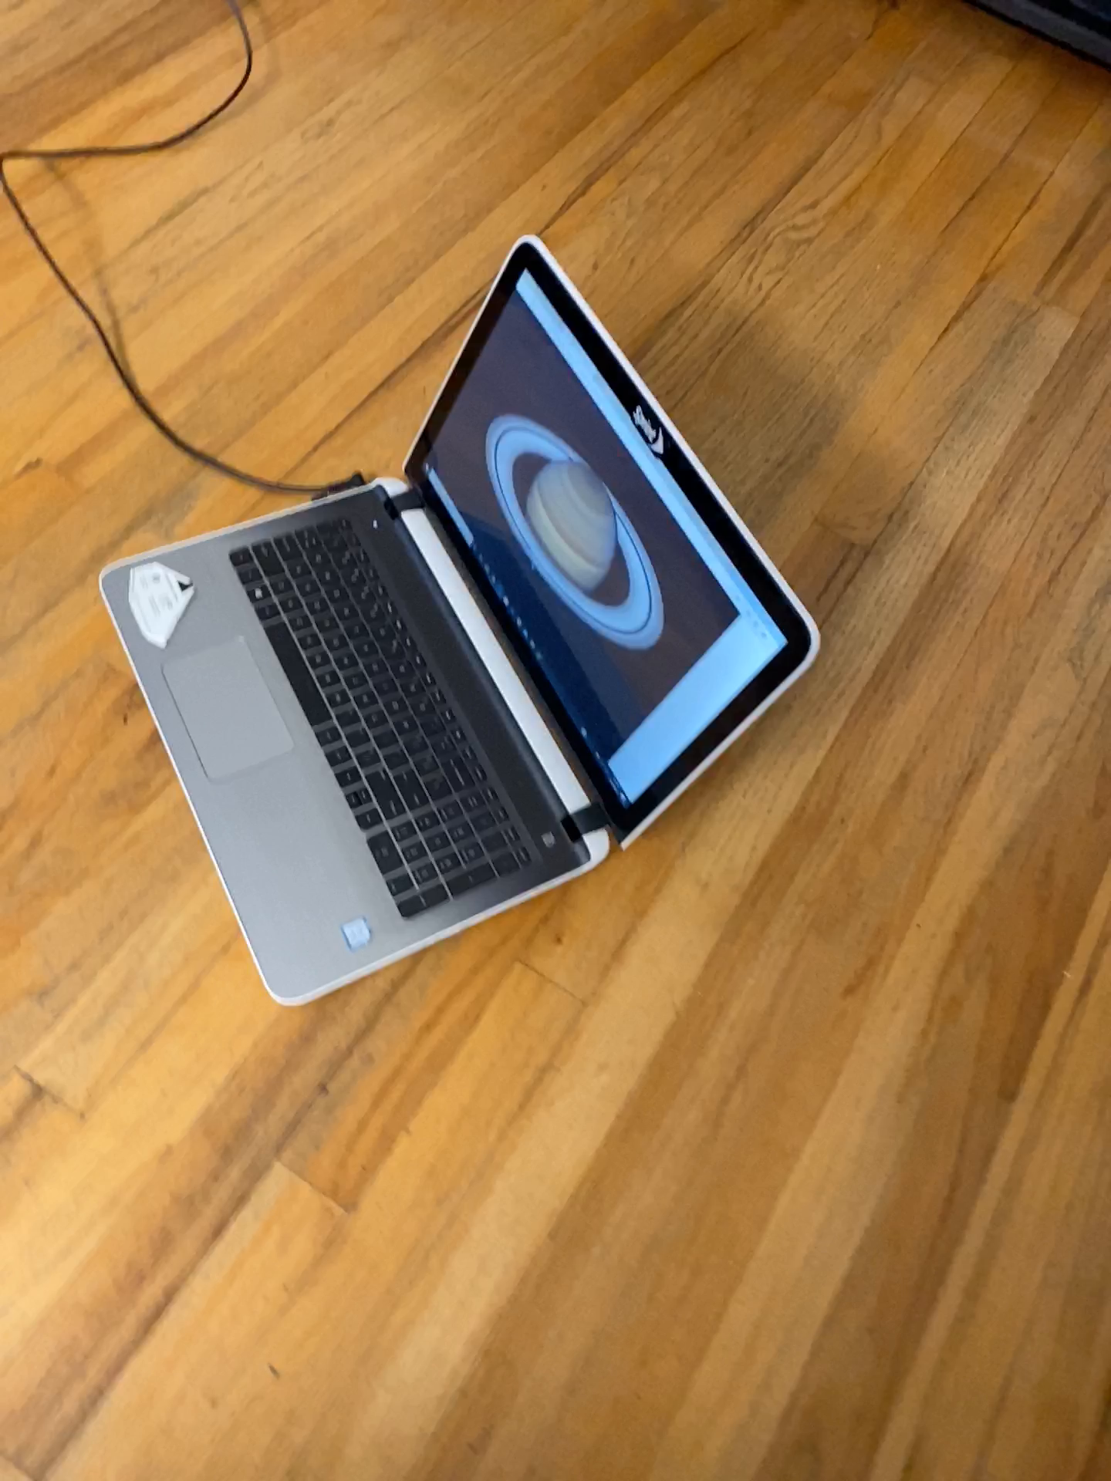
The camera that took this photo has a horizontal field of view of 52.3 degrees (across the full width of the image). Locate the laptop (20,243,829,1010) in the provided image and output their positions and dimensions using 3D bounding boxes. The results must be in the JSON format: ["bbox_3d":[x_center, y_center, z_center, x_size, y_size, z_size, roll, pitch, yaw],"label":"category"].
[{"bbox_3d":[-0.097,-0.089,0.772,0.363,0.202,0.371,-23,67,-17],"label":"laptop"}]
